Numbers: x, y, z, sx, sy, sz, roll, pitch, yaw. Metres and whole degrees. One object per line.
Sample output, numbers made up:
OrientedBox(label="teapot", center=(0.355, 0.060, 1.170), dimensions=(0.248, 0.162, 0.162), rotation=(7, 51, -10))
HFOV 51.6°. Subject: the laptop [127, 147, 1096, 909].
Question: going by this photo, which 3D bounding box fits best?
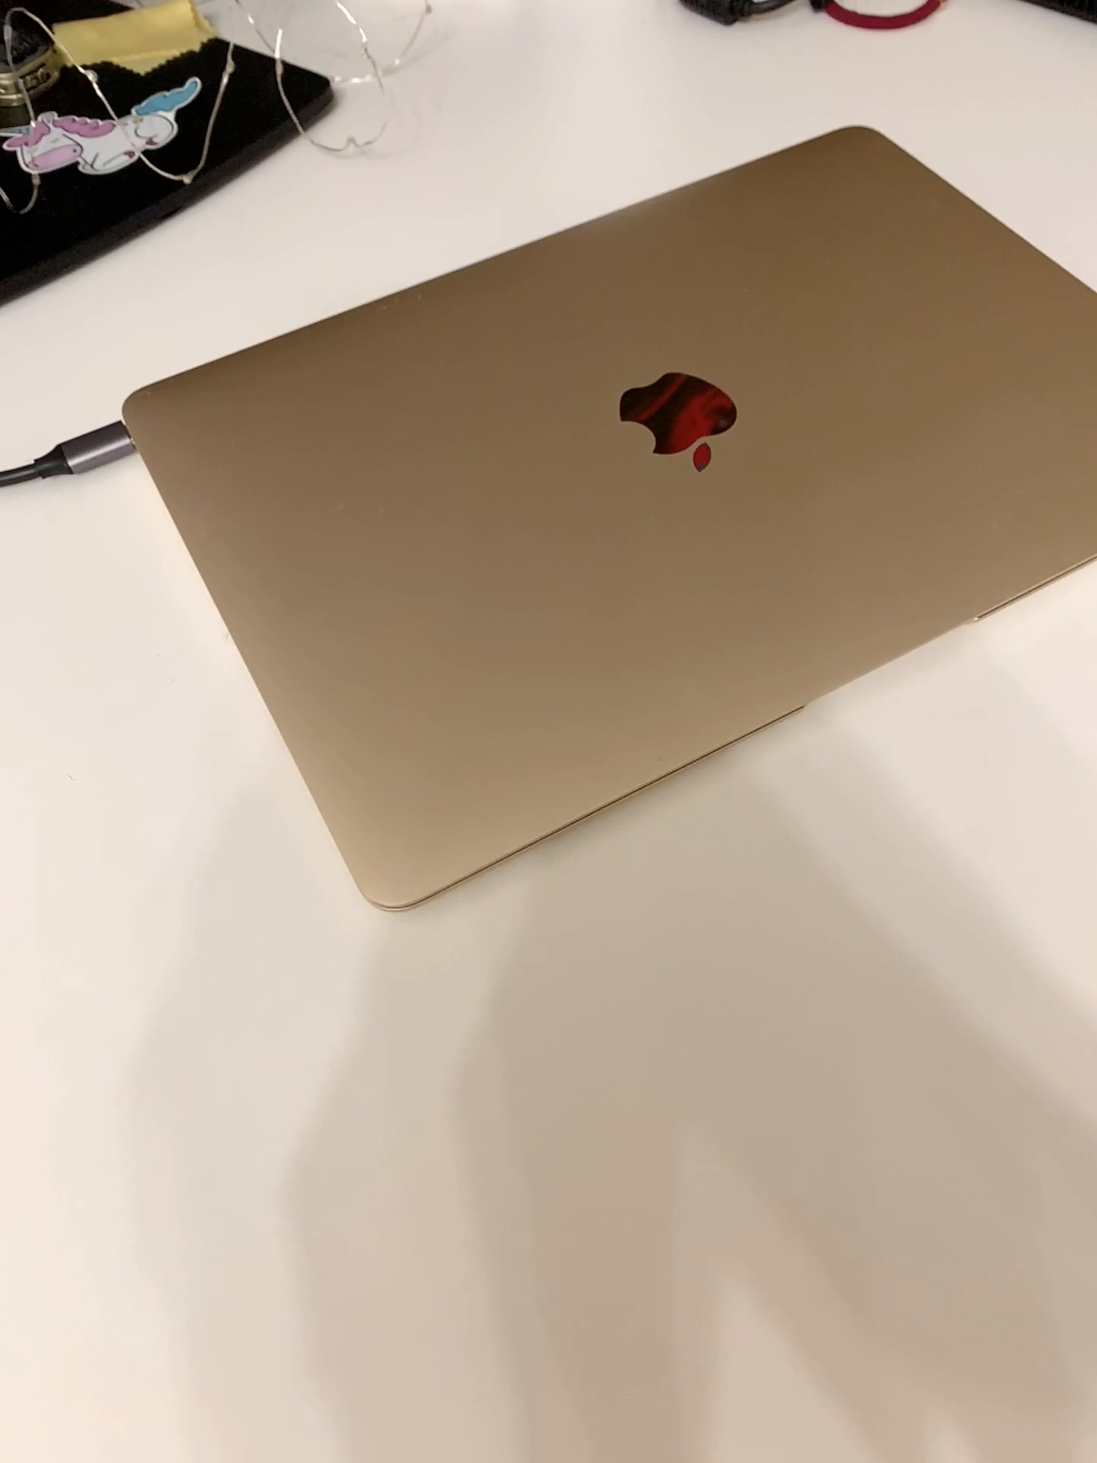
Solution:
OrientedBox(label="laptop", center=(0.035, -0.081, 0.320), dimensions=(0.255, 0.013, 0.174), rotation=(-26, 61, -16))
